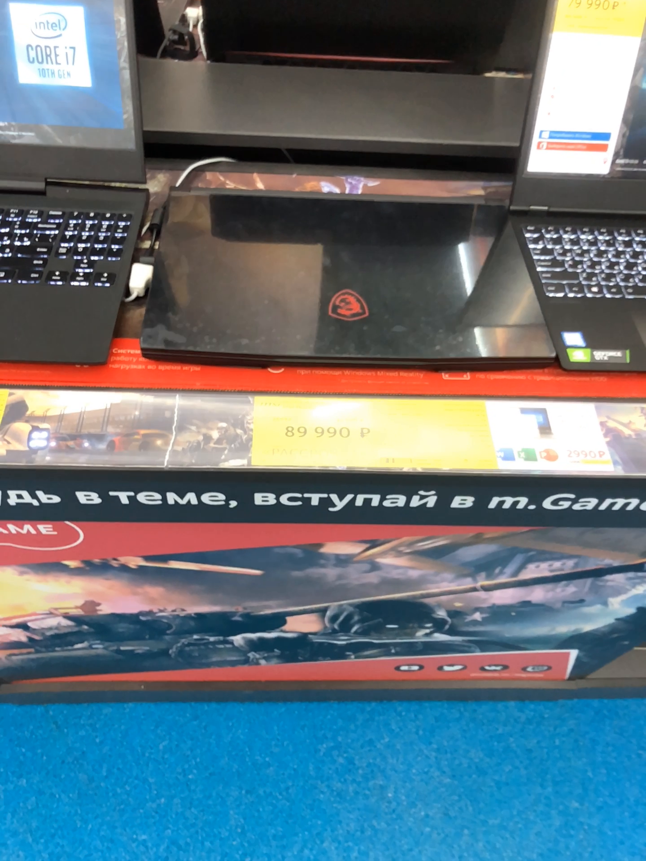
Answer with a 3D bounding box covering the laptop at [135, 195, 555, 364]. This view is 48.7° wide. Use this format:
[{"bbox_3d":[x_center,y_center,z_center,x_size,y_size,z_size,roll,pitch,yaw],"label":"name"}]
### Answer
[{"bbox_3d":[0.016,-0.151,0.677,0.353,0.002,0.239,1,49,-3],"label":"laptop"}]
